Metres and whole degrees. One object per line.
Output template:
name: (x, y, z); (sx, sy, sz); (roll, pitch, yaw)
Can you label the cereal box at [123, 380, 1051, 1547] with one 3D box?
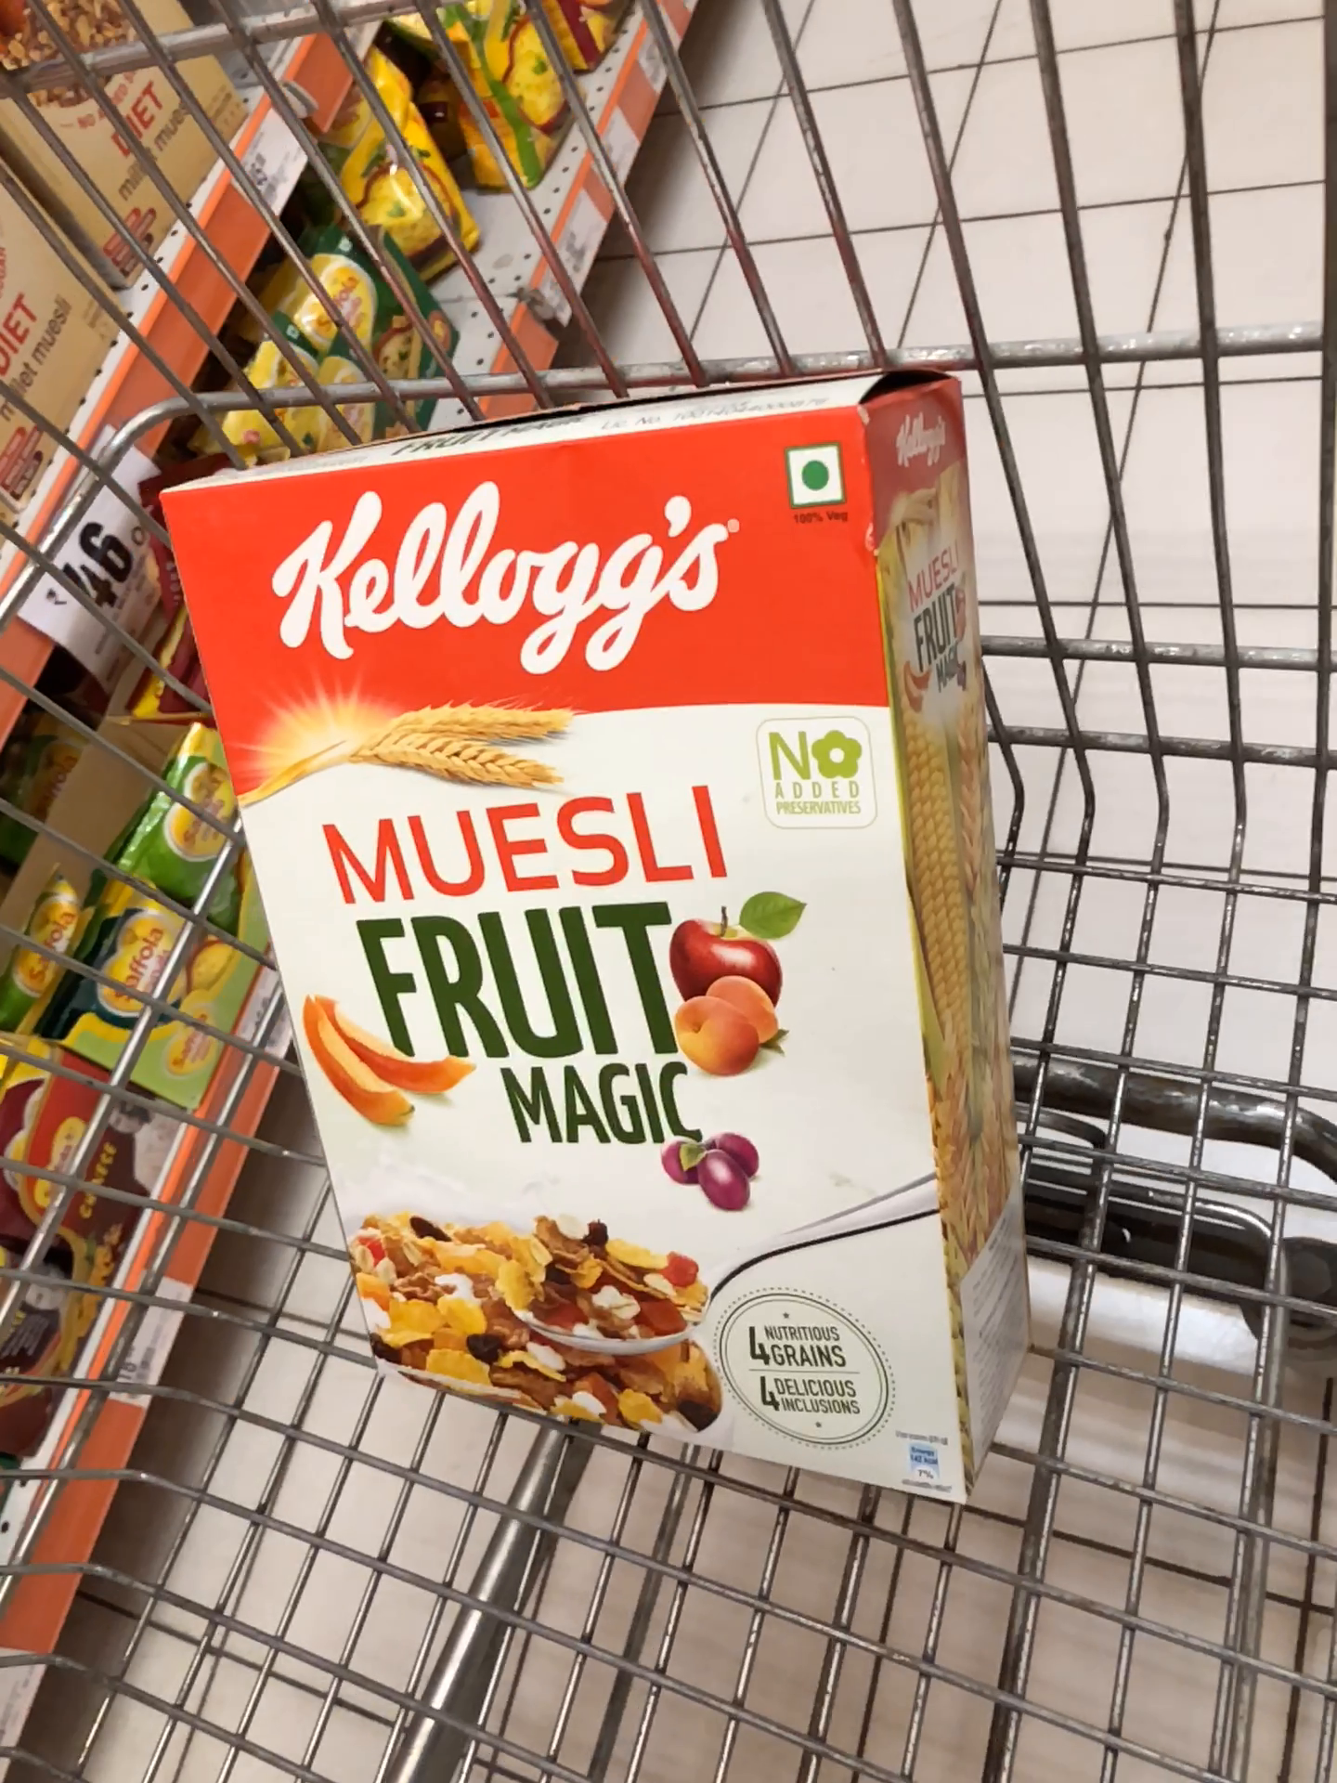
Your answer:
cereal box: (-0.011, 0.018, 0.397); (0.200, 0.269, 0.080); (2, 21, 25)
